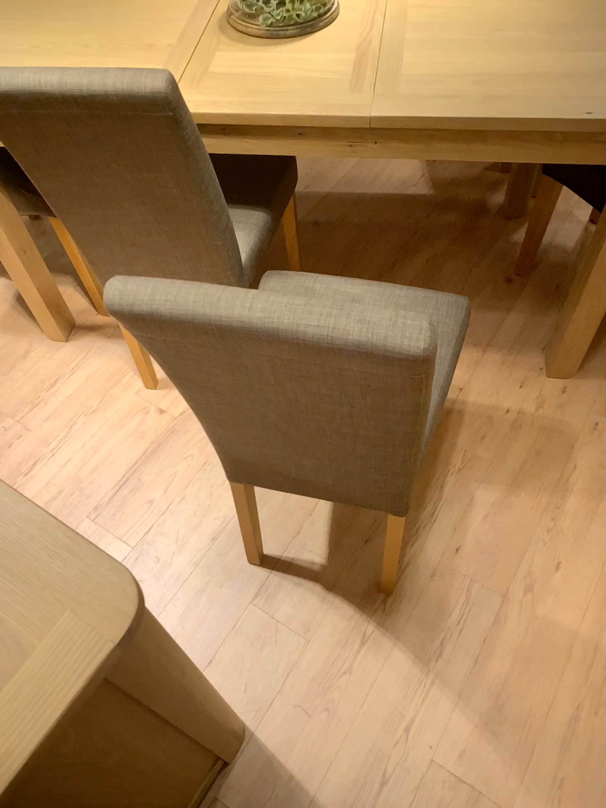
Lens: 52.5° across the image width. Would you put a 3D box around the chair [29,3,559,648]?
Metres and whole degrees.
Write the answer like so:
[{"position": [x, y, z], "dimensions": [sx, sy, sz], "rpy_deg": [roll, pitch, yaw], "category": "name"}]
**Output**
[{"position": [0.072, -0.057, 1.112], "dimensions": [0.490, 0.952, 0.614], "rpy_deg": [10, 55, 11], "category": "chair"}]
